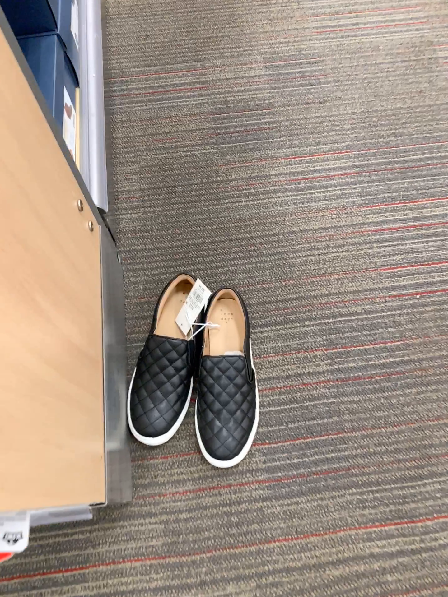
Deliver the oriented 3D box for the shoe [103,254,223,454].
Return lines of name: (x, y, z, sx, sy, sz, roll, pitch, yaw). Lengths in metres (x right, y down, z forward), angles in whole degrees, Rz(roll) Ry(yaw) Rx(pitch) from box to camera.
shoe: (-0.078, 0.079, 0.669, 0.100, 0.100, 0.260, 11, 68, 5)

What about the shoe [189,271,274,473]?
shoe: (0.008, 0.101, 0.634, 0.100, 0.100, 0.260, -1, 67, 0)
